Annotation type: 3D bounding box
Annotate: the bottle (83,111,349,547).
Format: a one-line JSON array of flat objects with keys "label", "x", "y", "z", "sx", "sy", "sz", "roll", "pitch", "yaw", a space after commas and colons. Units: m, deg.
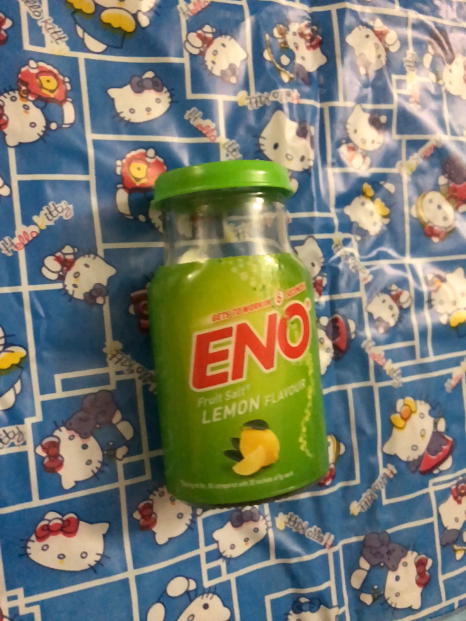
[{"label": "bottle", "x": -0.007, "y": 0.002, "z": 0.165, "sx": 0.060, "sy": 0.050, "sz": 0.110, "roll": -7, "pitch": 96, "yaw": -21}]
